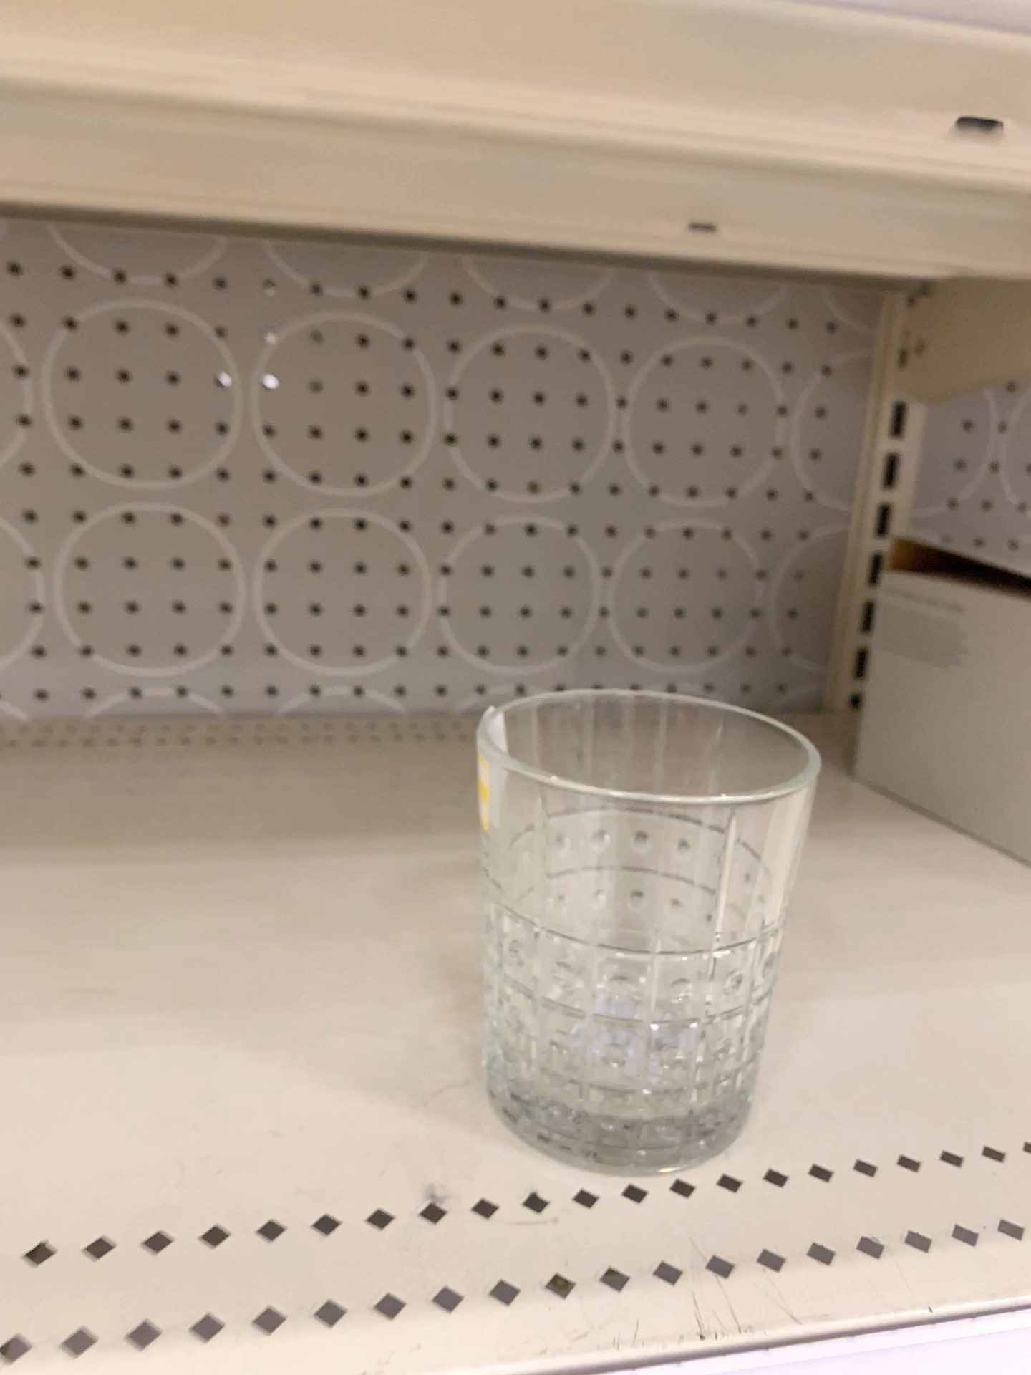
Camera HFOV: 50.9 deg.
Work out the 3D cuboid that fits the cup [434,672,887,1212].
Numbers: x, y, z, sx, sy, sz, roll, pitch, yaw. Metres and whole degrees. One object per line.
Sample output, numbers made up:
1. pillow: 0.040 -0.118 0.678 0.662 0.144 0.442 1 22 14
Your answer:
1. cup: 0.030 0.062 0.299 0.090 0.110 0.090 3 16 -1
